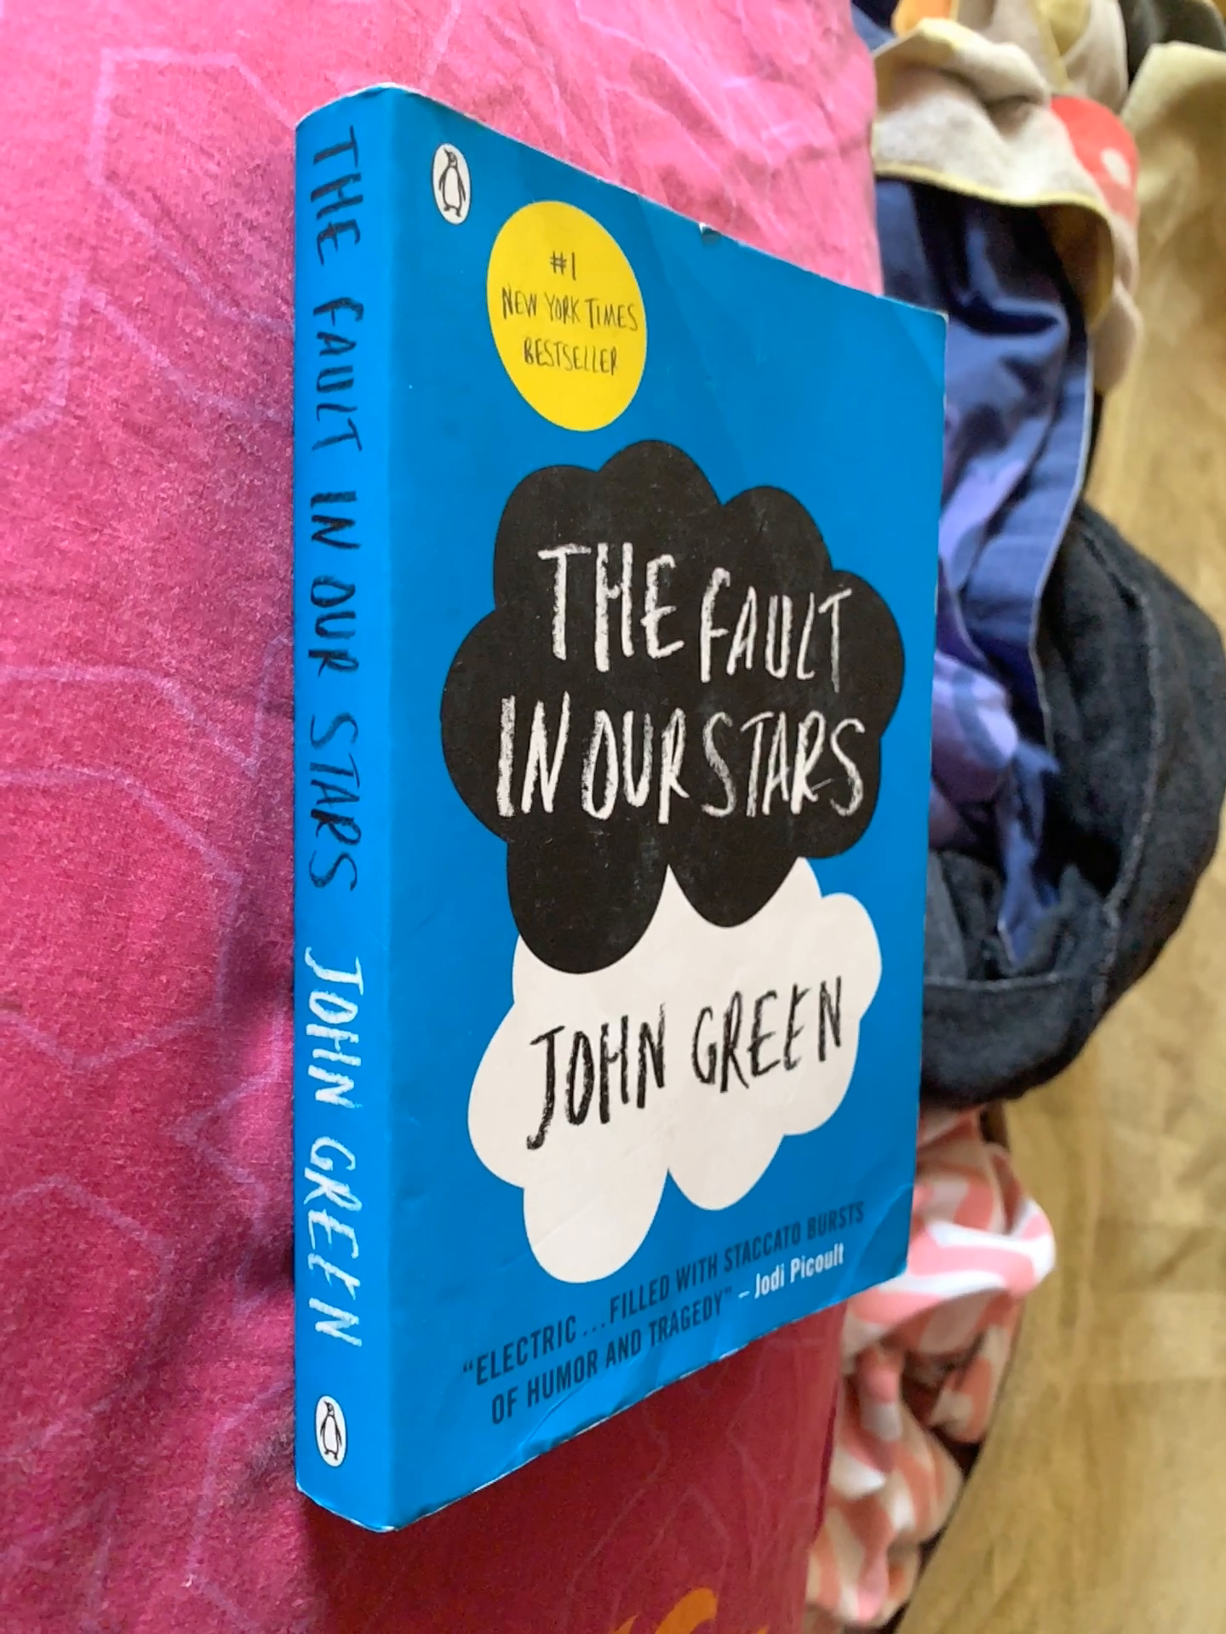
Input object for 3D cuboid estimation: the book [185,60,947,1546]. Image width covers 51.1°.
[{"bbox_3d":[0.003,-0.004,0.210,0.130,0.030,0.179,-3,90,-45],"label":"book"}]
